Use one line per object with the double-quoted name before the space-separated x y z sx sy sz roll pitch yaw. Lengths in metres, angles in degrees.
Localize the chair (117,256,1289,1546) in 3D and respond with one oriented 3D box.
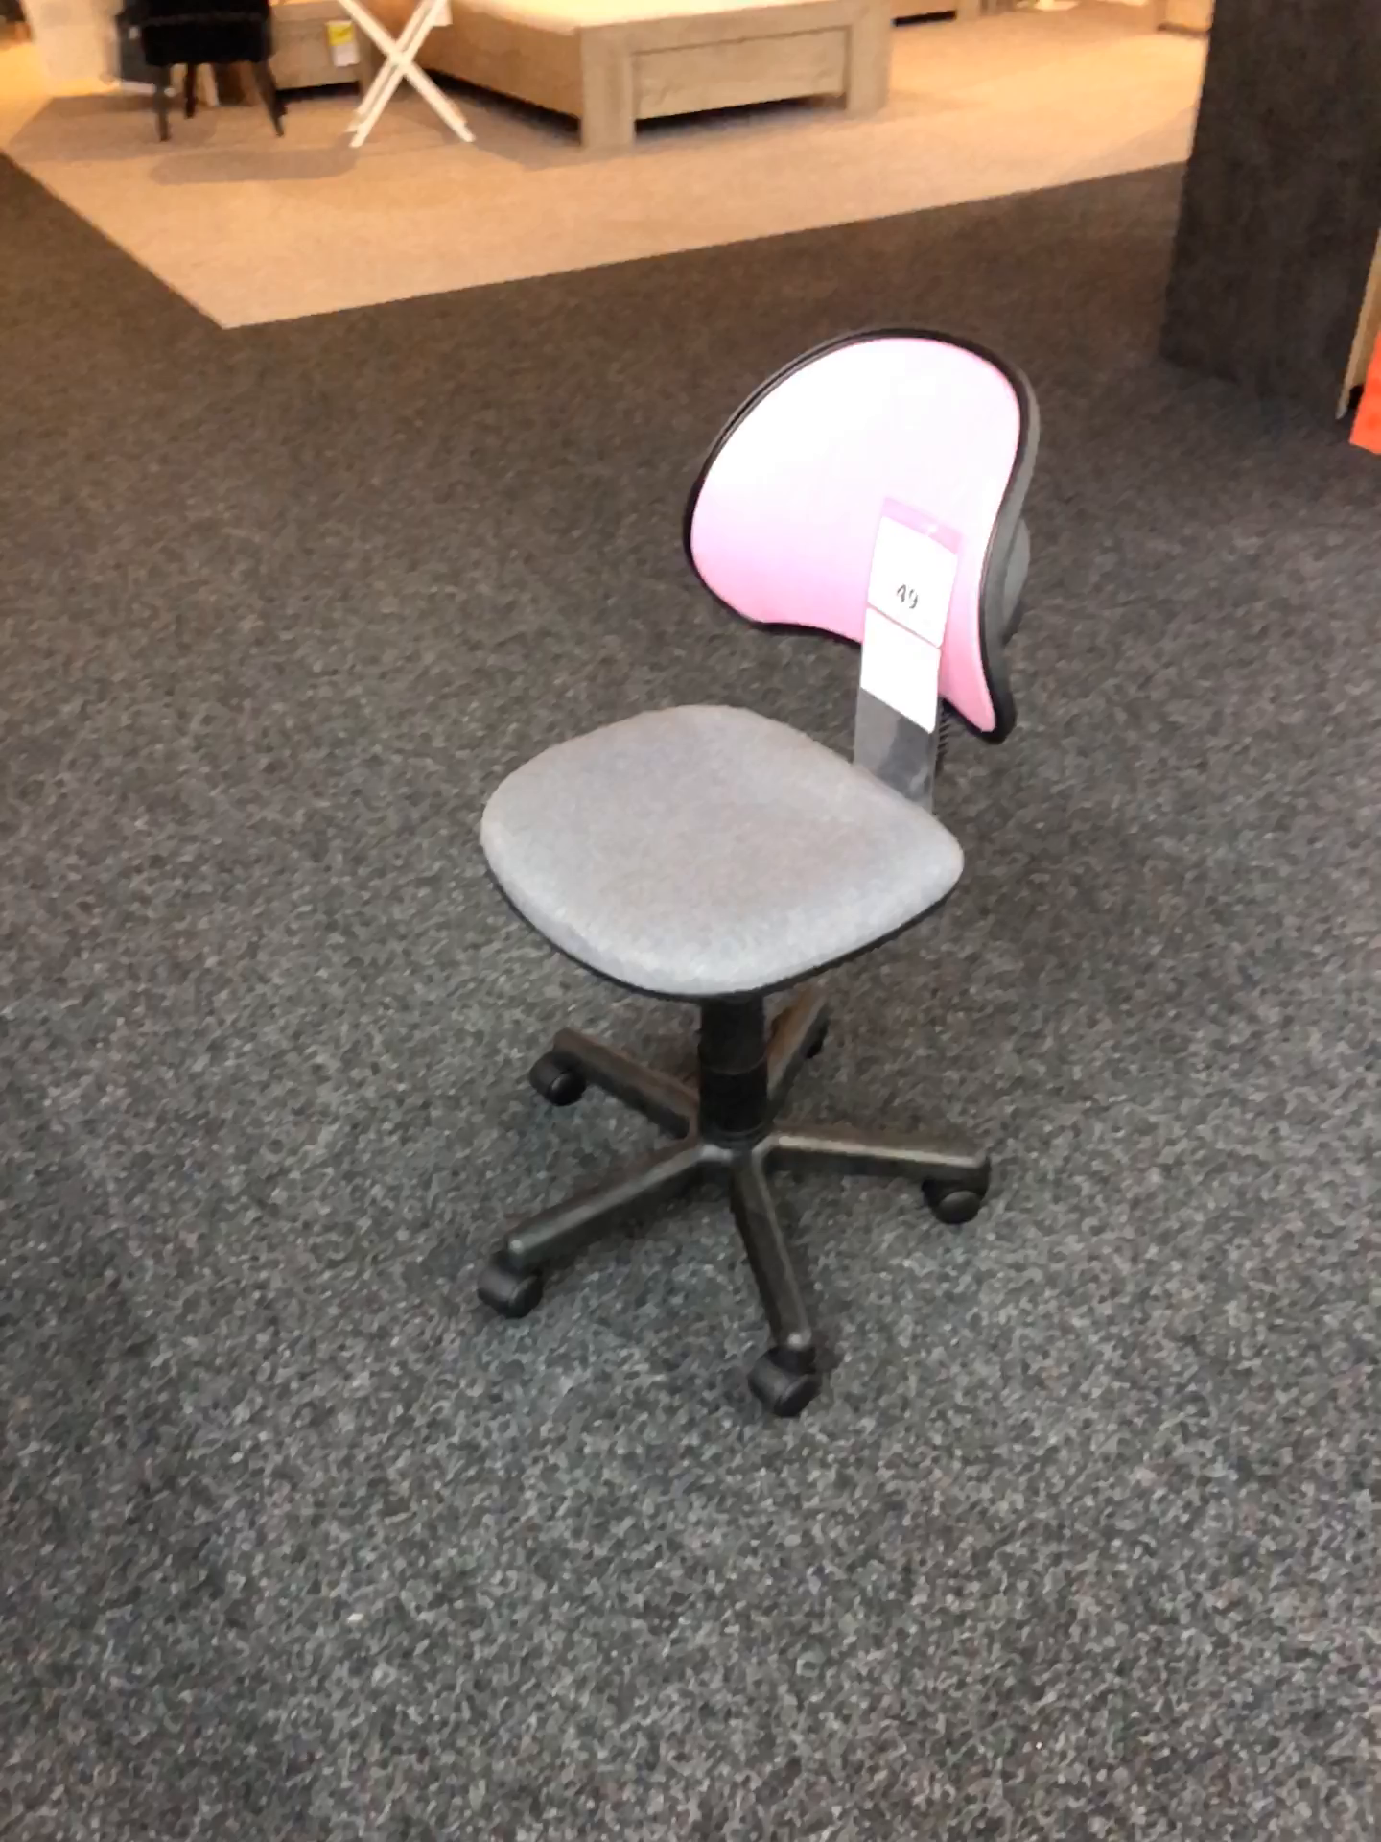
"chair" 0.019 -0.066 1.322 0.600 0.775 0.603 28 45 34
